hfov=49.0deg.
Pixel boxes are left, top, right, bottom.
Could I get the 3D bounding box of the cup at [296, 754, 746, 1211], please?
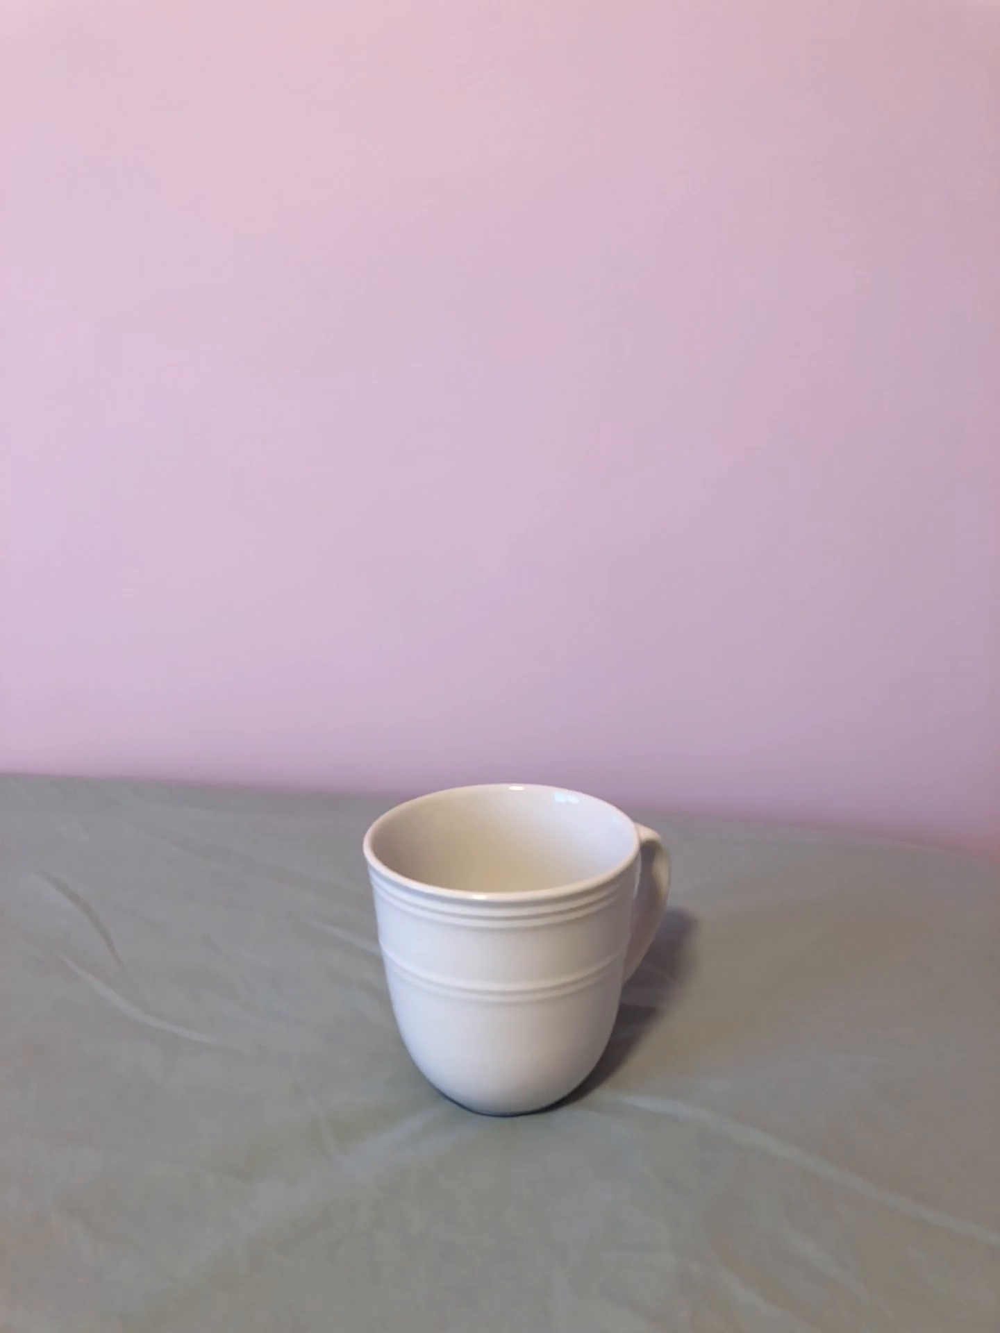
[{"bbox_3d":[0.009,0.111,0.433,0.140,0.100,0.100,-12,19,-33],"label":"cup"}]
